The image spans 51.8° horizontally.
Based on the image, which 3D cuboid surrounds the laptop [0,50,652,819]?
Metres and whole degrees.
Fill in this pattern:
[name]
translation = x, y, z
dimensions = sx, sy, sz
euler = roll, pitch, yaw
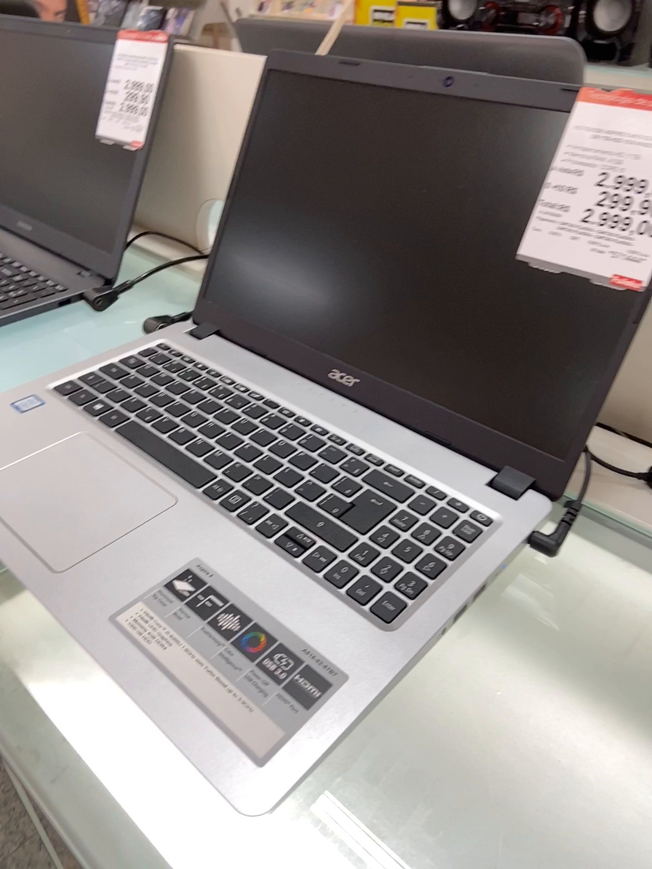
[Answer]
[laptop]
translation = -0.038, -0.089, 0.414
dimensions = 0.367, 0.205, 0.373
euler = 28, 44, 34
